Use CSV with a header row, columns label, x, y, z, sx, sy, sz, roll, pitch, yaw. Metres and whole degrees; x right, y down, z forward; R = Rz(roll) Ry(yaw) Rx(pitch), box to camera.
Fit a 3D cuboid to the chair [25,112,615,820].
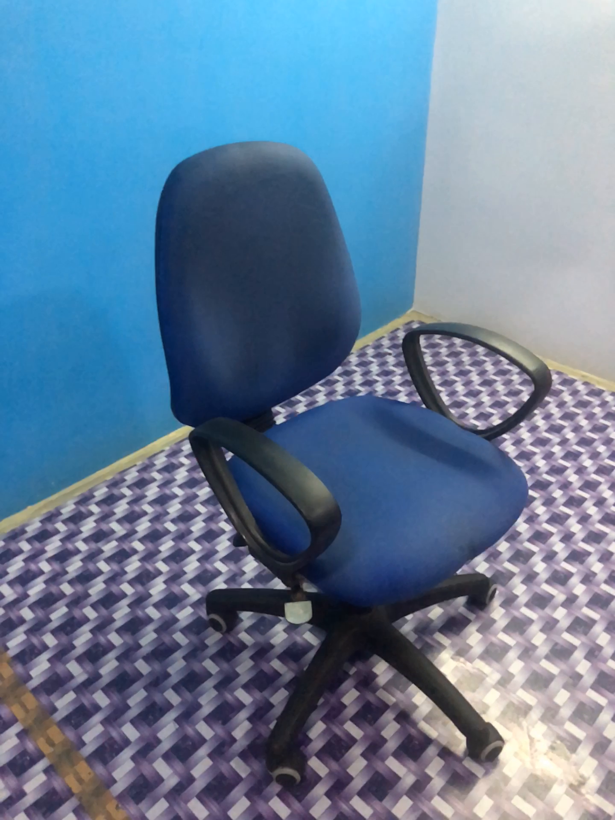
label,x,y,z,sx,sy,sz,roll,pitch,yaw
chair,0.105,0.072,1.130,0.703,0.915,0.691,-24,39,-34
